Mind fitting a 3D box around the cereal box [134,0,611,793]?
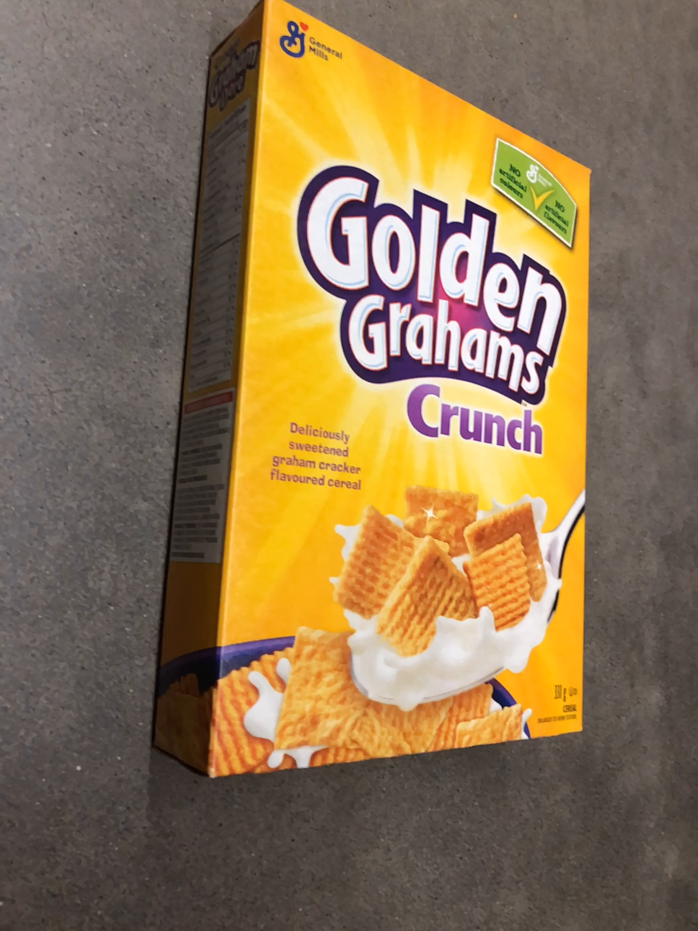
[{"bbox_3d":[0.025,-0.027,0.356,0.201,0.070,0.300,9,82,-34],"label":"cereal box"}]
